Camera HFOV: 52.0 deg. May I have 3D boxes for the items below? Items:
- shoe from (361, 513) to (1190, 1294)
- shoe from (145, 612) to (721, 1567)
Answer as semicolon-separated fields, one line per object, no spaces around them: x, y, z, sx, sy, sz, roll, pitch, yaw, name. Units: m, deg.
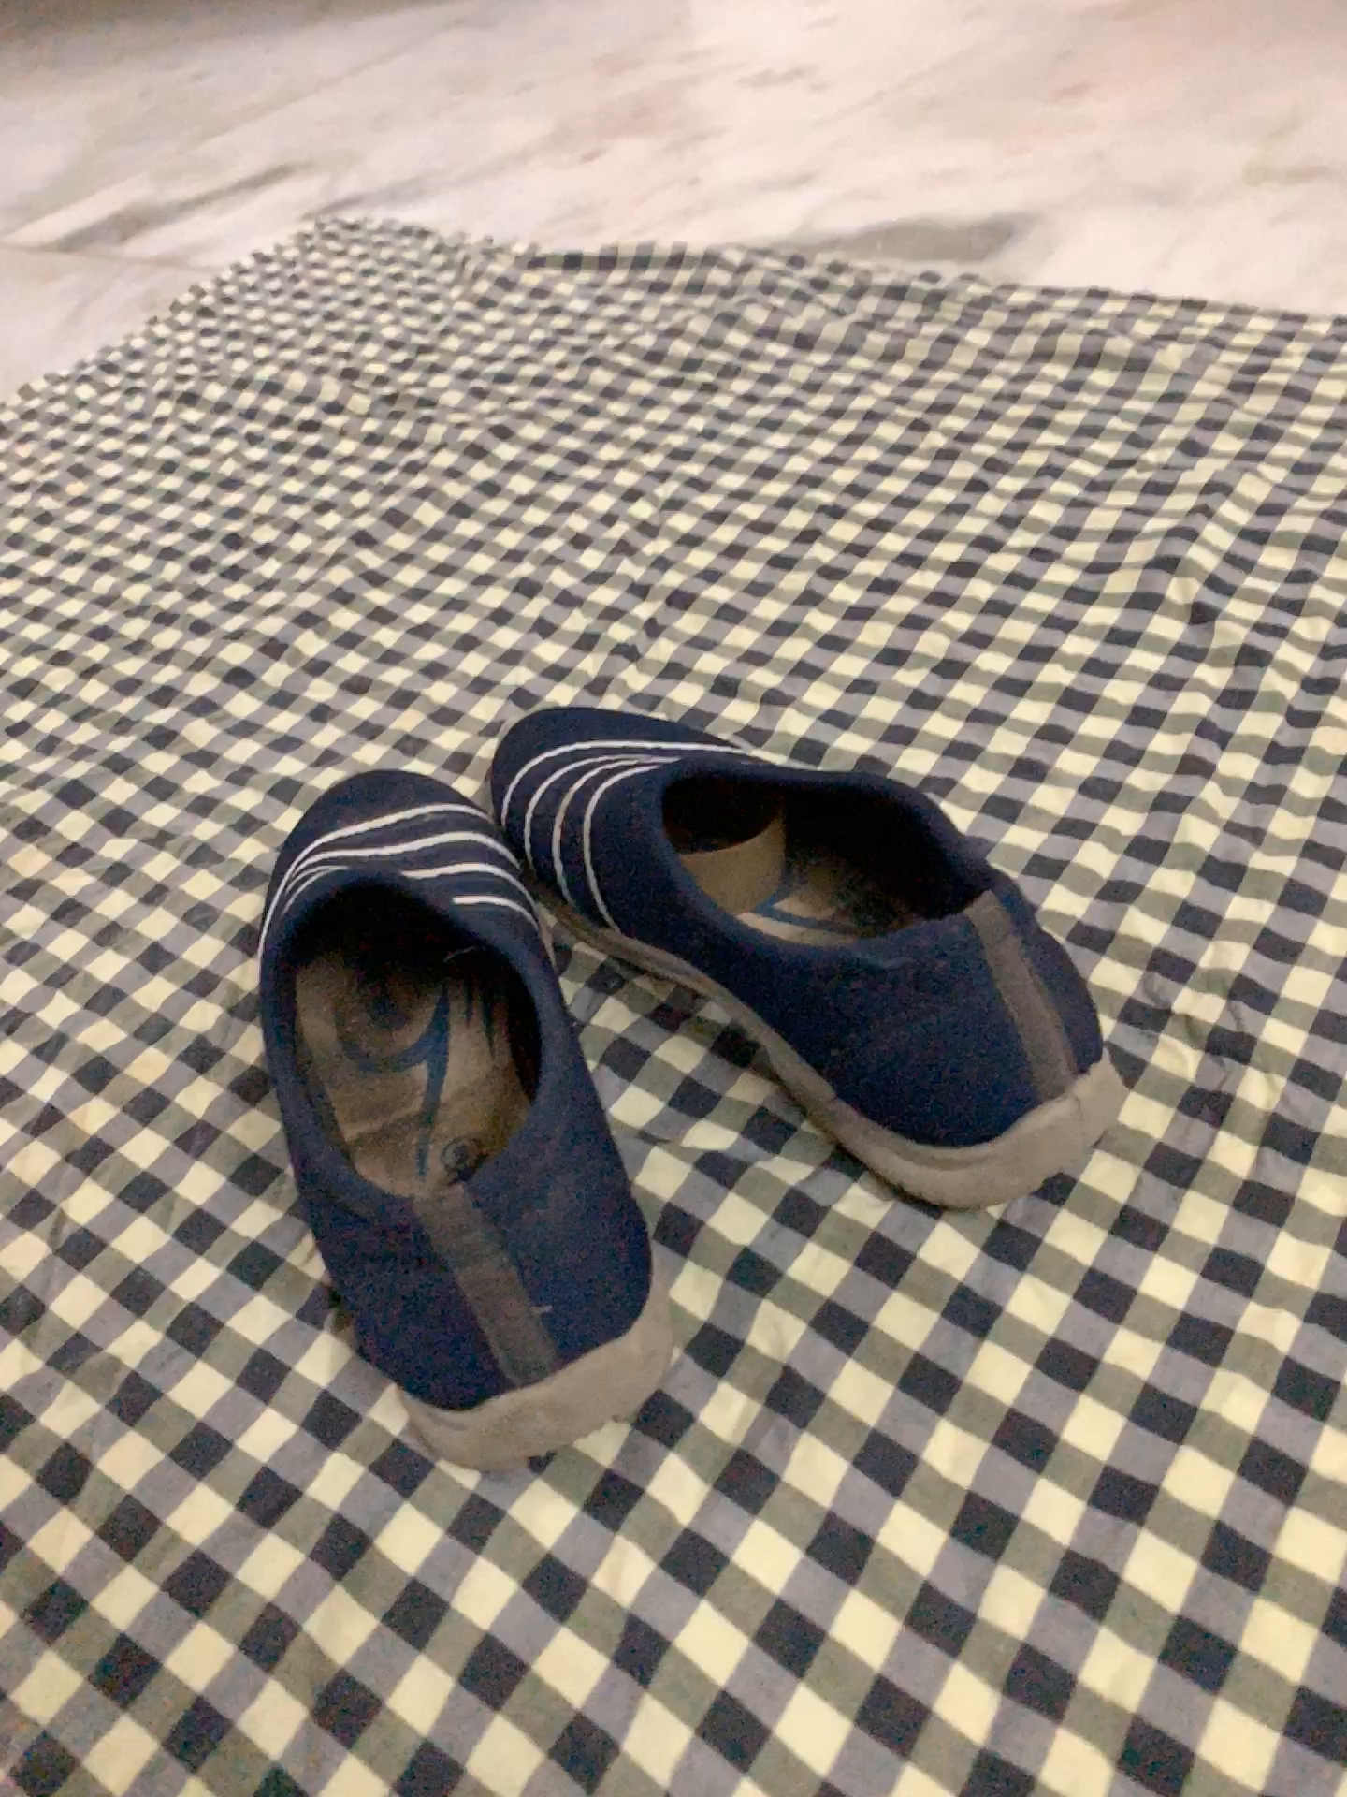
0.015;-0.017;0.414;0.090;0.089;0.252;-32;47;-21;shoe
-0.079;0.033;0.396;0.090;0.099;0.252;-19;44;-9;shoe
